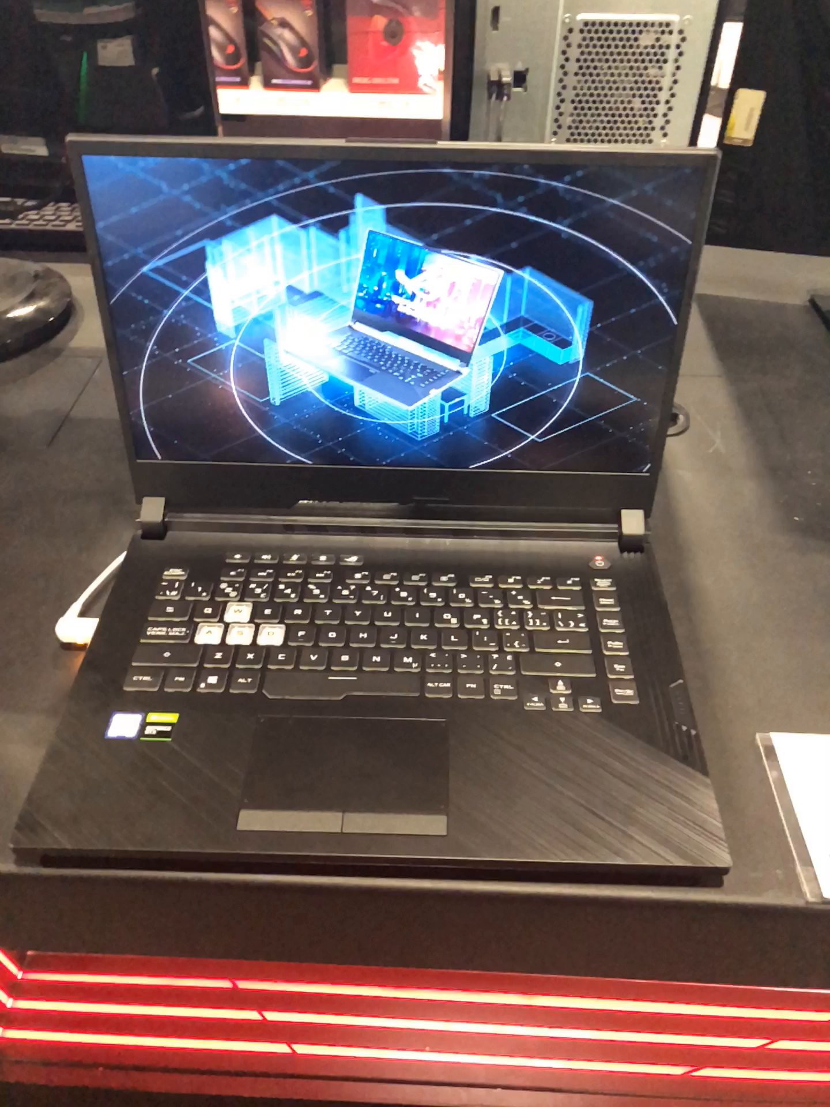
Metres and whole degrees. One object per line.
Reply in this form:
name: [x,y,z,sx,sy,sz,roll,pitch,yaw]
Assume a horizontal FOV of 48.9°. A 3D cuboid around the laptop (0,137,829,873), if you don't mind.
laptop: [-0.019,-0.037,0.468,0.349,0.243,0.281,2,41,0]
